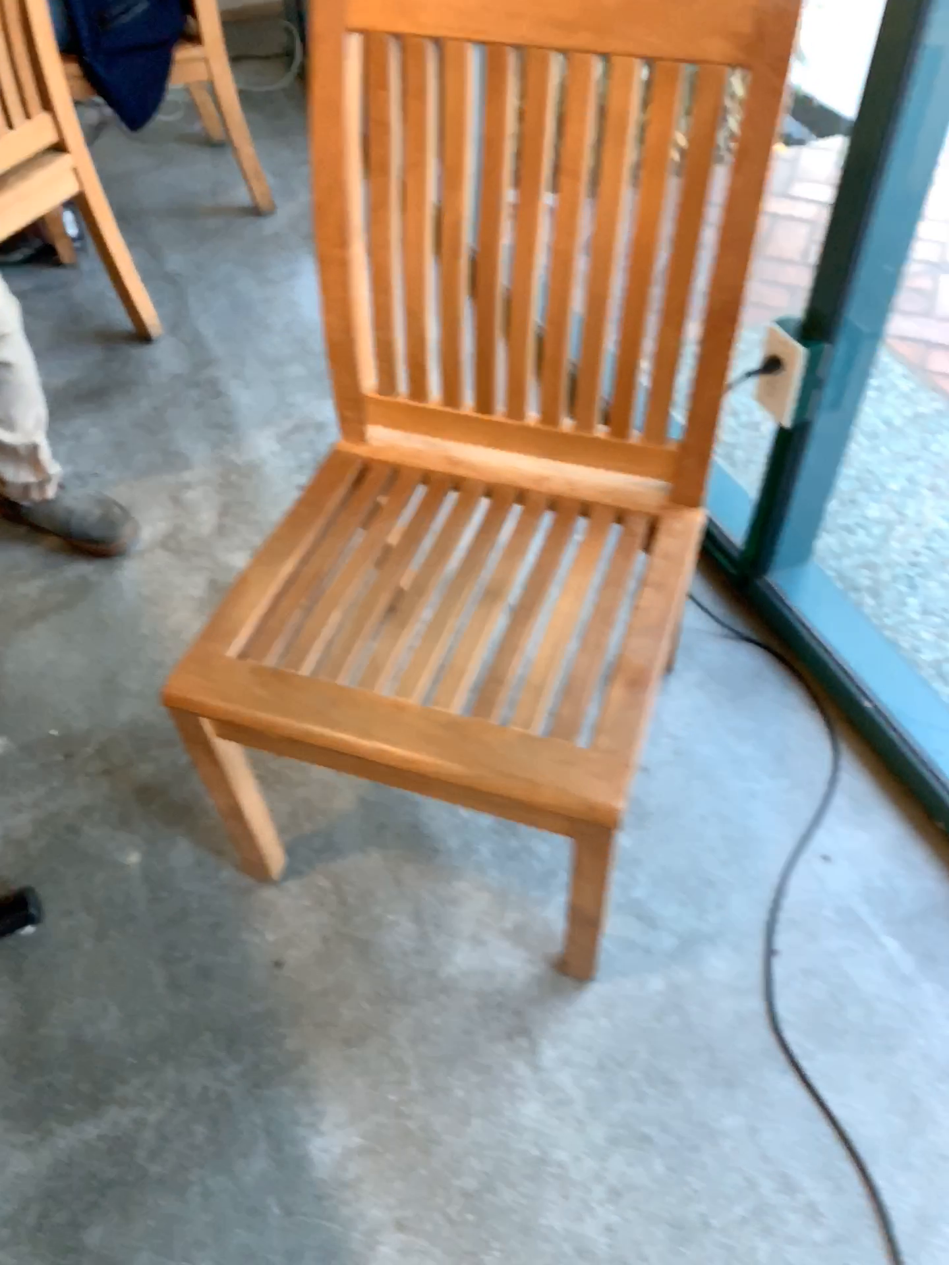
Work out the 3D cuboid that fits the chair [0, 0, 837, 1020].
[{"bbox_3d":[-0.030,-0.115,1.067,0.530,0.916,0.612,14,53,14],"label":"chair"}]
